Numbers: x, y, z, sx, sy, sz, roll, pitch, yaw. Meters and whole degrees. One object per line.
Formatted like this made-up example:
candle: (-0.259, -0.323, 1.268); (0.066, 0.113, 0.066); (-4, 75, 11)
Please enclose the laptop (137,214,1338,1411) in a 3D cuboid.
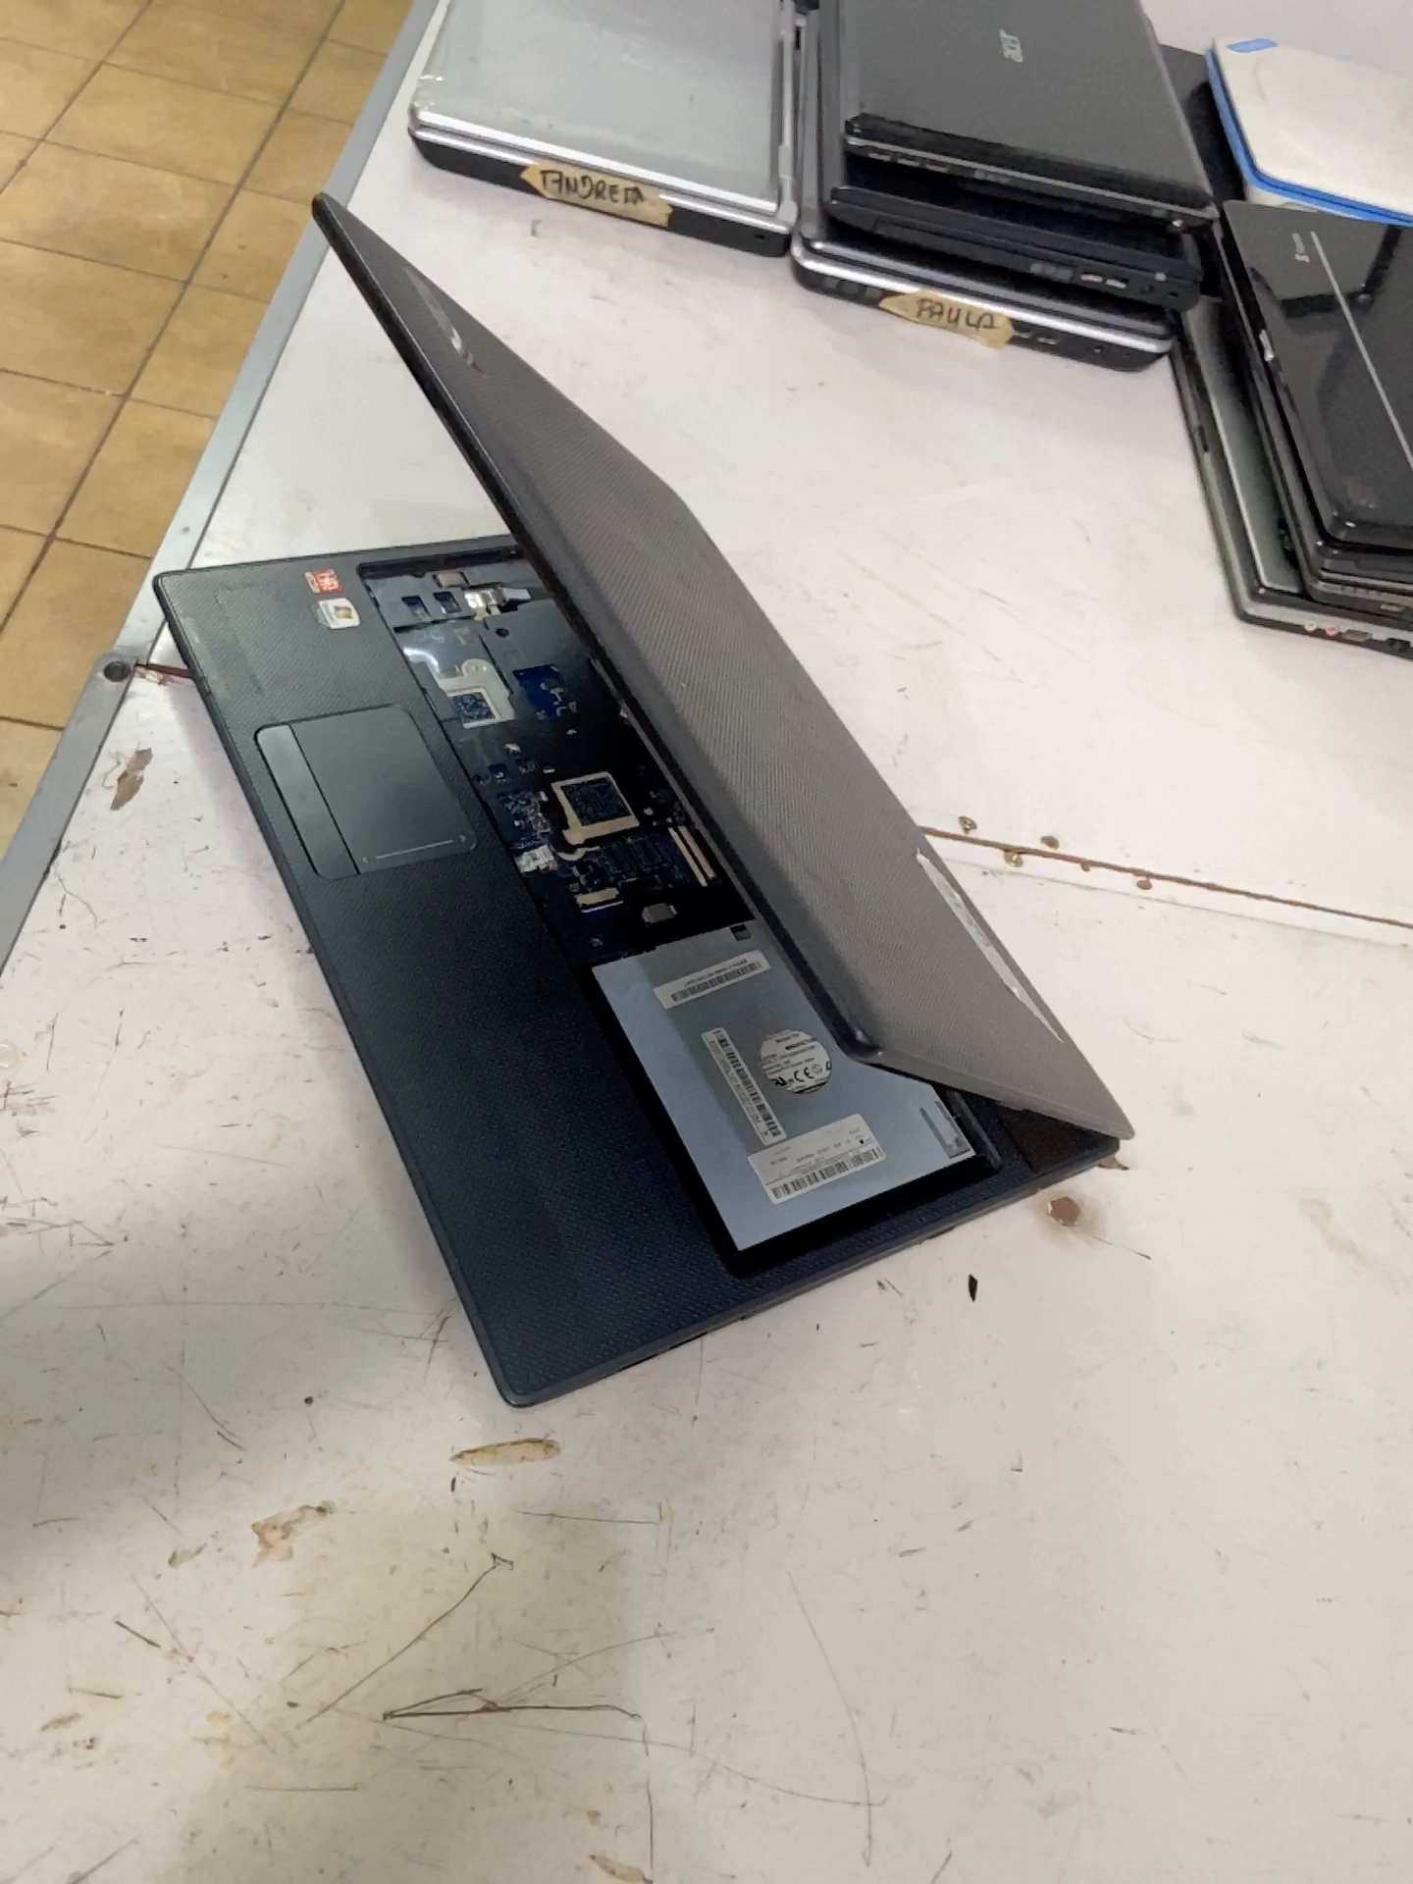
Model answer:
laptop: (-0.022, -0.080, 0.507); (0.240, 0.156, 0.371); (-15, 58, -26)
